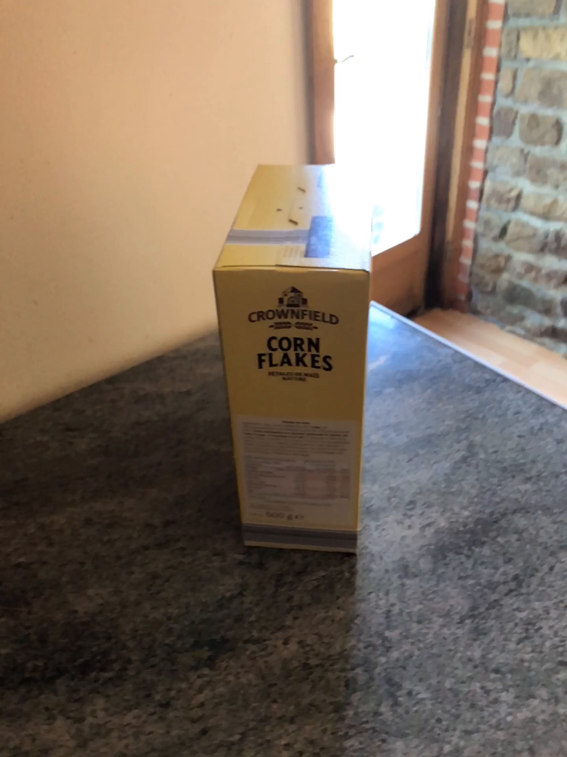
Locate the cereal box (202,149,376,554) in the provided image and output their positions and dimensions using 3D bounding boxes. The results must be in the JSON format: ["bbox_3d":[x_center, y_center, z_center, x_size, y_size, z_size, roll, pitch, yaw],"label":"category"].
[{"bbox_3d":[0.019,-0.026,0.512,0.100,0.258,0.201,2,35,7],"label":"cereal box"}]
